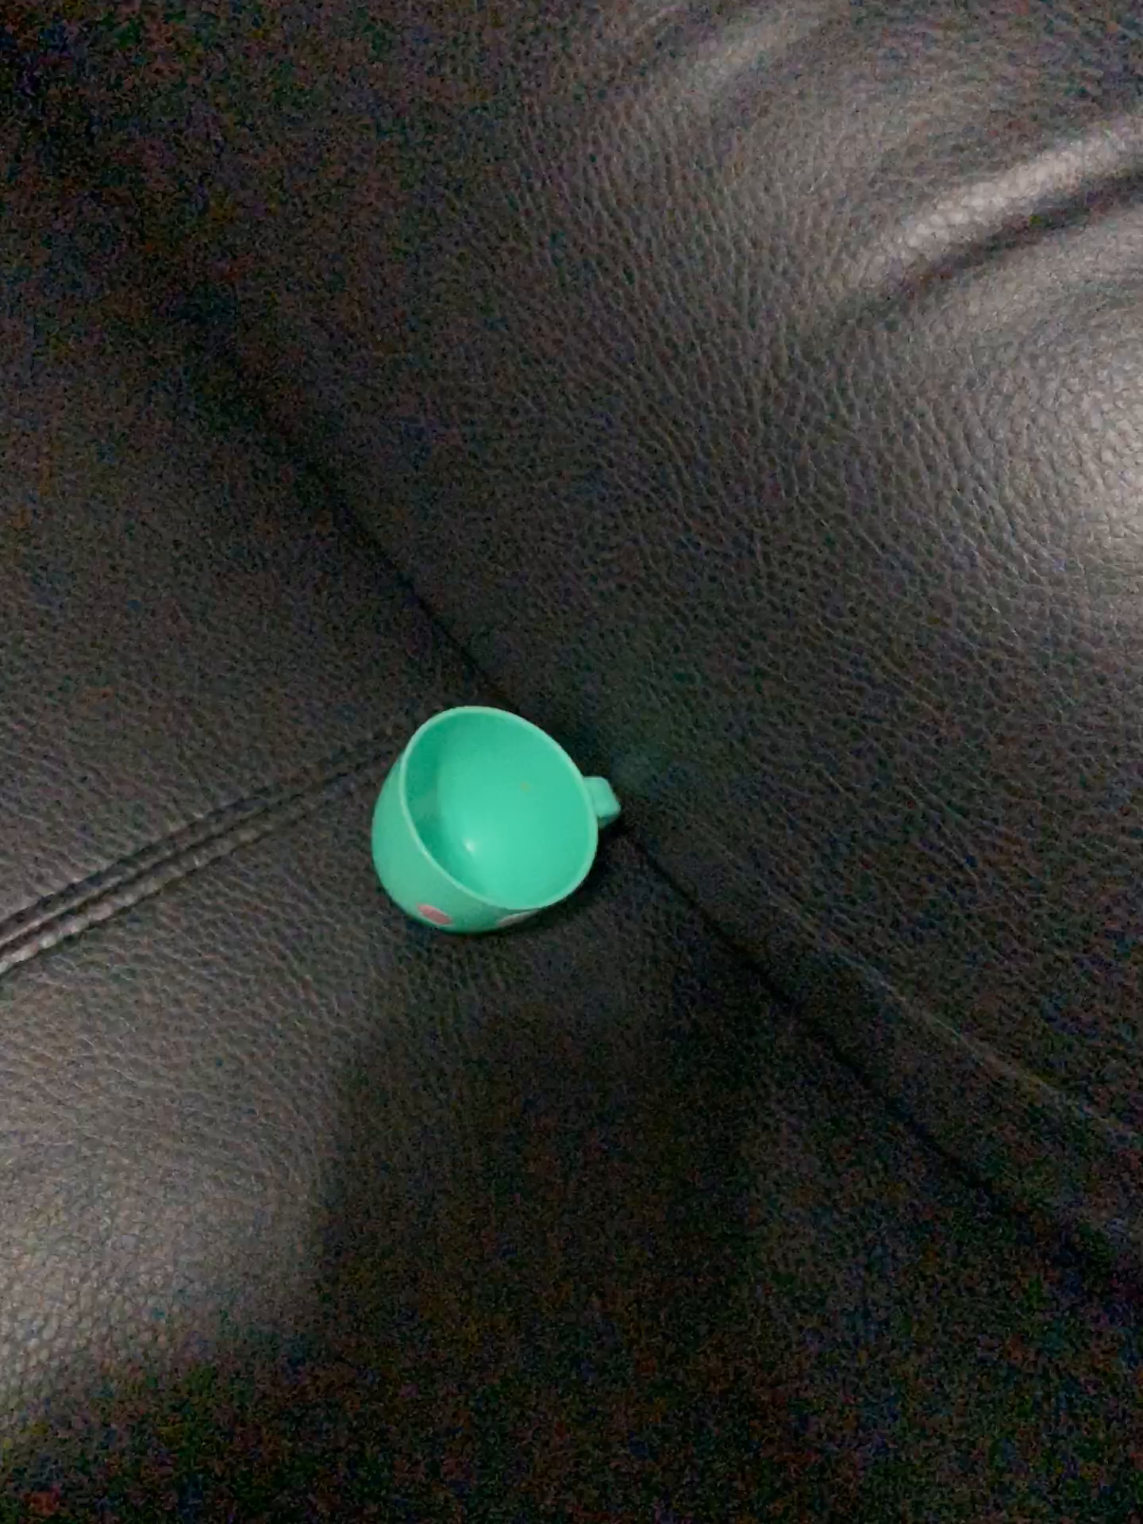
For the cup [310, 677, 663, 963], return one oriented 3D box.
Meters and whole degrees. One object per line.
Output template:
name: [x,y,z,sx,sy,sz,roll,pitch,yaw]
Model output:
cup: [-0.020,0.012,0.272,0.063,0.030,0.054,0,59,-33]
